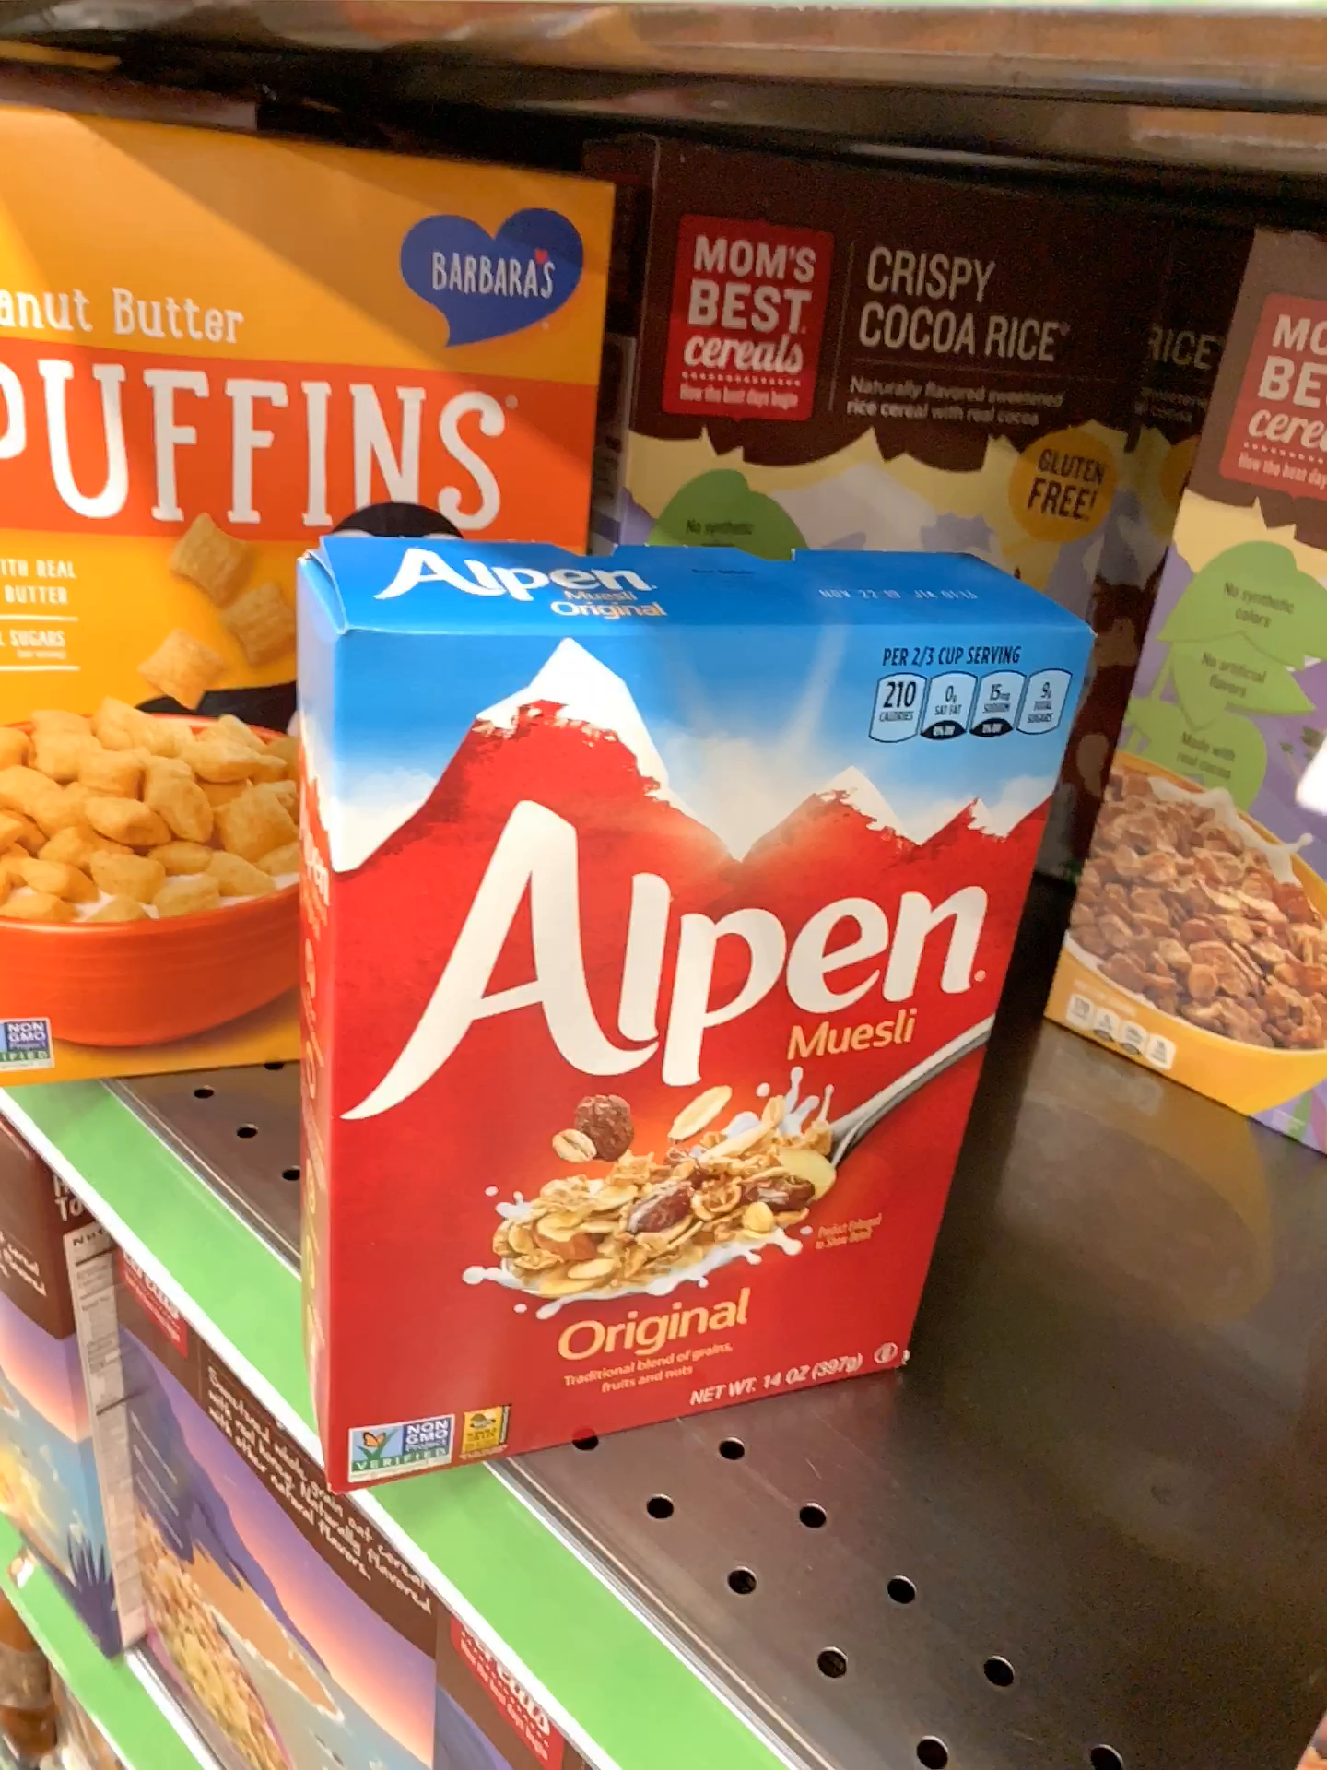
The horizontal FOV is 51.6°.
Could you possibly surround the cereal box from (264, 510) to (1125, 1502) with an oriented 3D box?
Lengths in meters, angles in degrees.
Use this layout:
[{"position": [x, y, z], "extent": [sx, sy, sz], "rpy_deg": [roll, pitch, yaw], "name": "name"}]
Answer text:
[{"position": [-0.002, 0.030, 0.305], "extent": [0.160, 0.209, 0.040], "rpy_deg": [-4, 28, -21], "name": "cereal box"}]
